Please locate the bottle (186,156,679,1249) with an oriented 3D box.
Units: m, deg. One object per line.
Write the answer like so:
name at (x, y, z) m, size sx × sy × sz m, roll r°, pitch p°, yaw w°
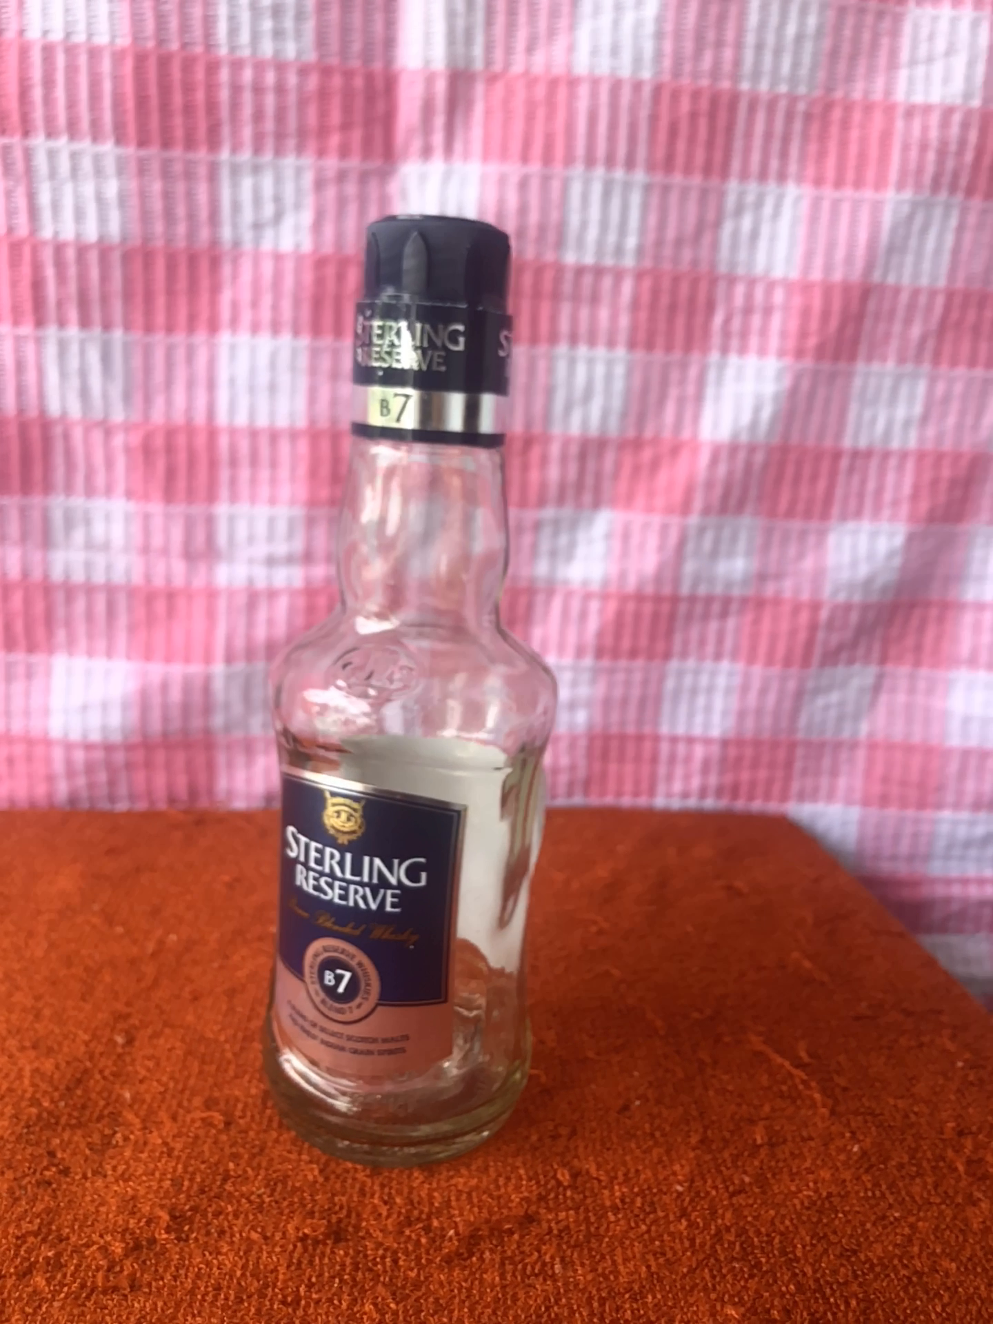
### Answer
bottle at (-0.014, 0.007, 0.200) m, size 0.060 × 0.169 × 0.050 m, roll 11°, pitch 17°, yaw 19°
